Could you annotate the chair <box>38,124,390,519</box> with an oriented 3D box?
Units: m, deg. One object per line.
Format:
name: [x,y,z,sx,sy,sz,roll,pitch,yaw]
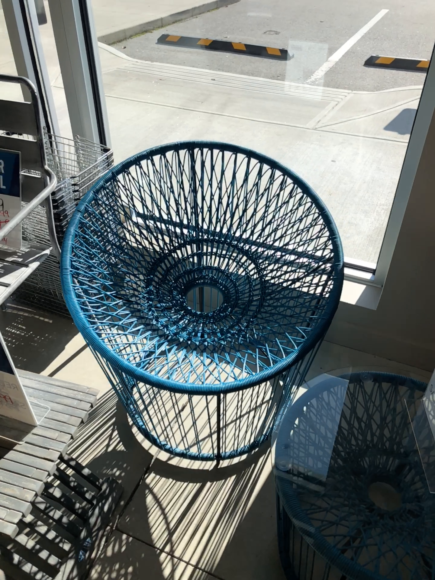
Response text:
chair: [-0.050,0.100,1.521,0.720,0.993,0.665,-6,39,-8]
